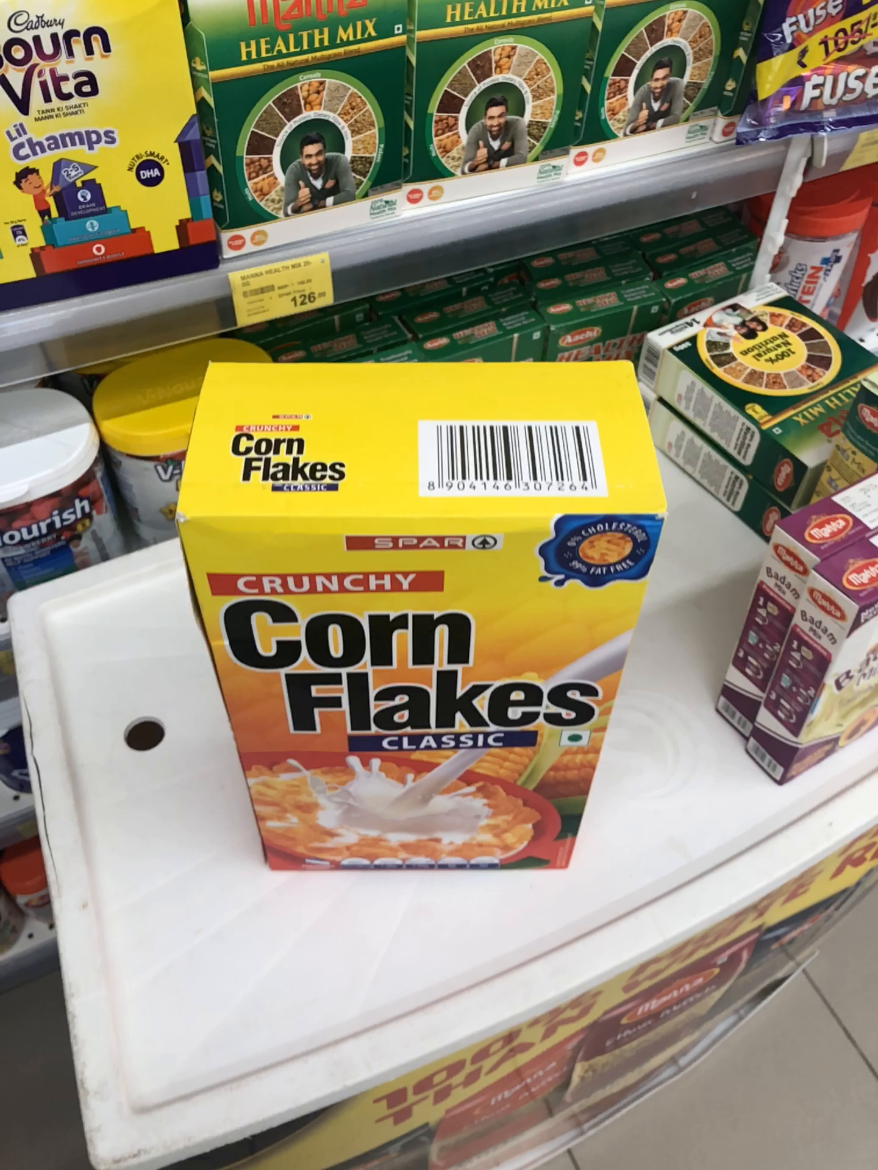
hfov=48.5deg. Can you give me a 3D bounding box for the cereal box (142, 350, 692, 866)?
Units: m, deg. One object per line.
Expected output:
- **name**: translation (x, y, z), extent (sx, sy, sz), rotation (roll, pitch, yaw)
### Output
- **cereal box**: translation (-0.012, 0.038, 0.506), extent (0.200, 0.319, 0.090), rotation (1, 51, -1)
